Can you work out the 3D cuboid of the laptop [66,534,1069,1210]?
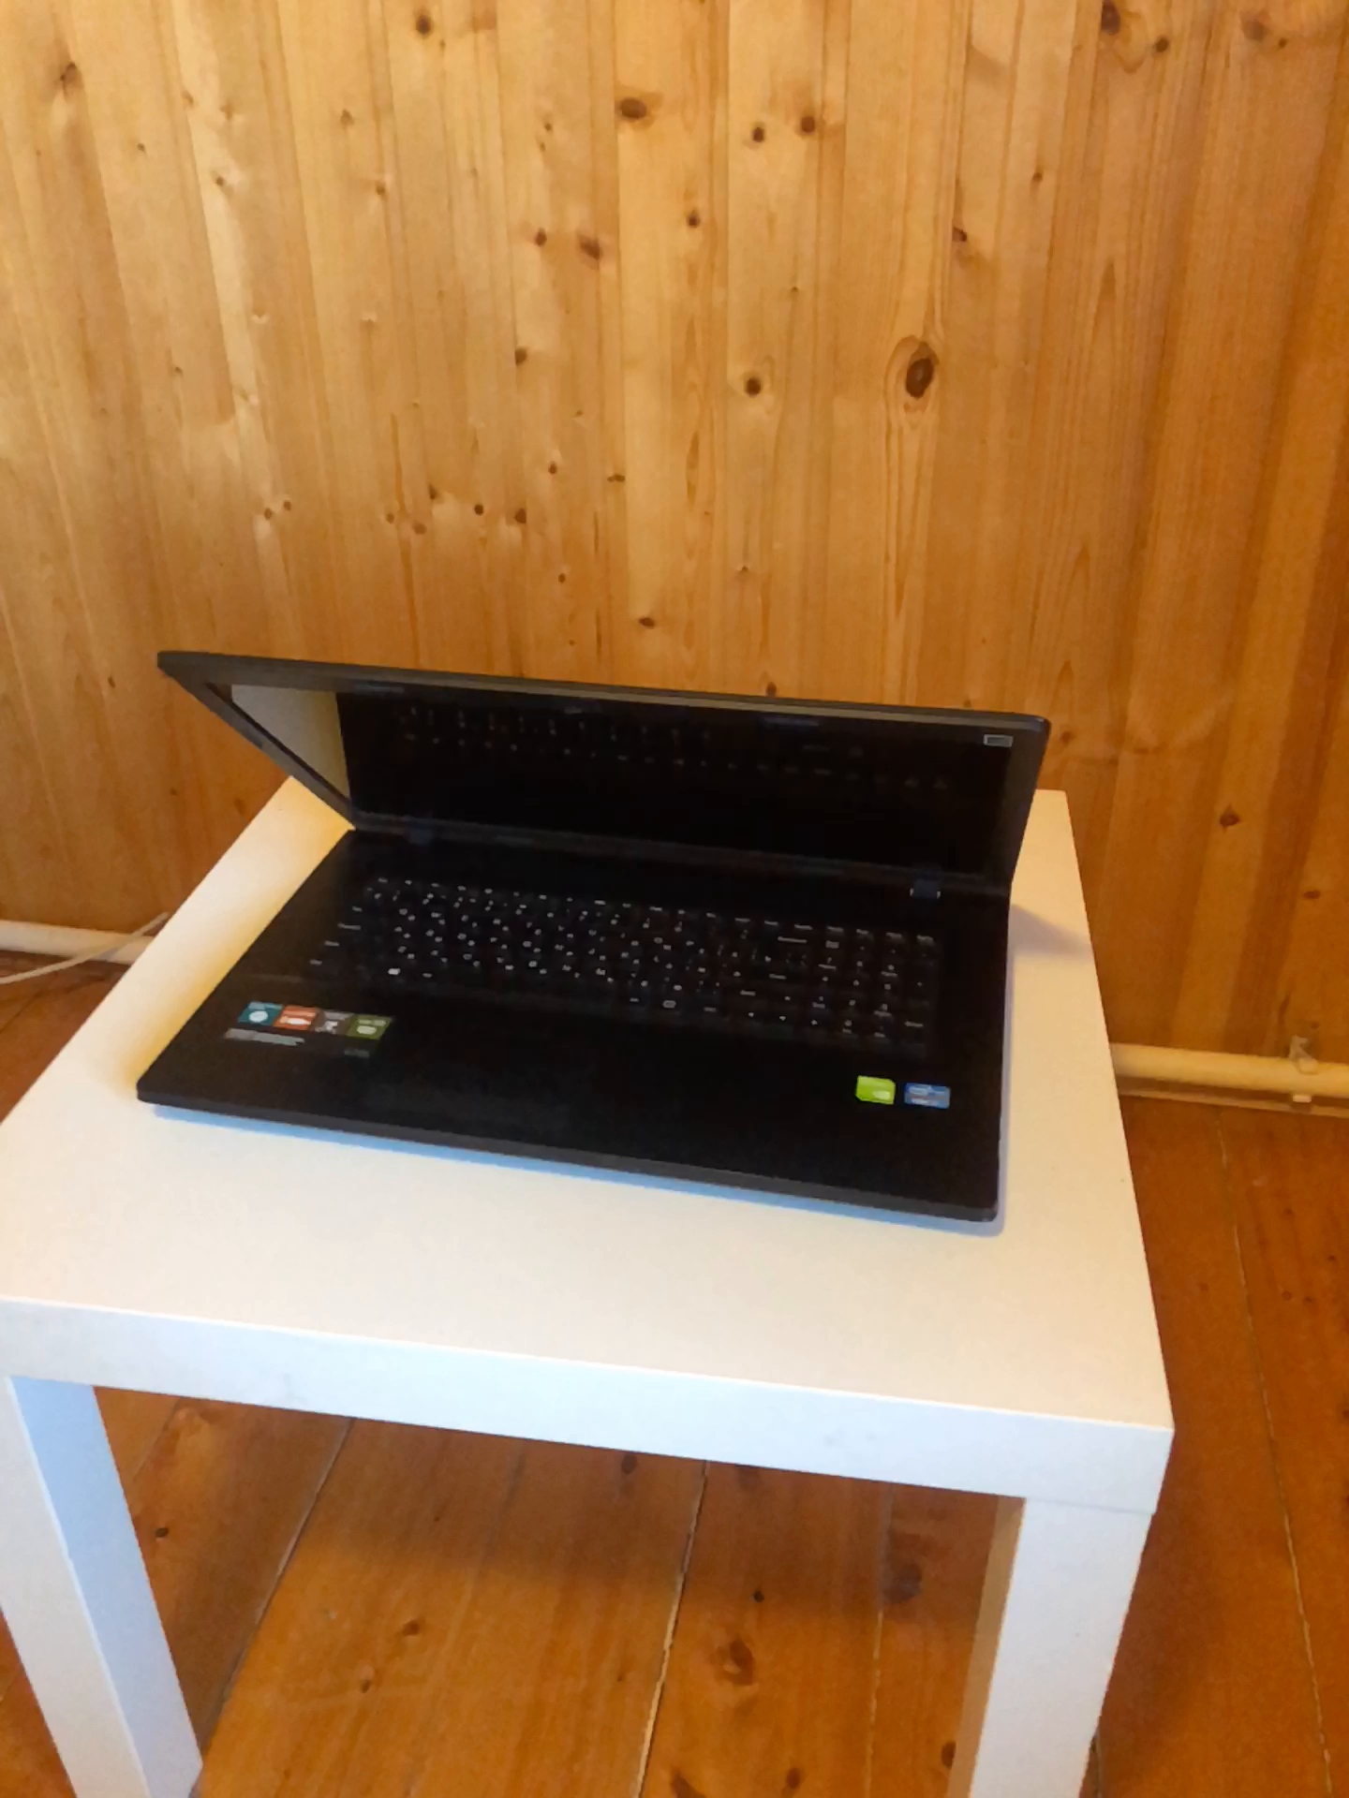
[{"bbox_3d":[-0.024,-0.033,0.725,0.401,0.183,0.253,6,32,9],"label":"laptop"}]
